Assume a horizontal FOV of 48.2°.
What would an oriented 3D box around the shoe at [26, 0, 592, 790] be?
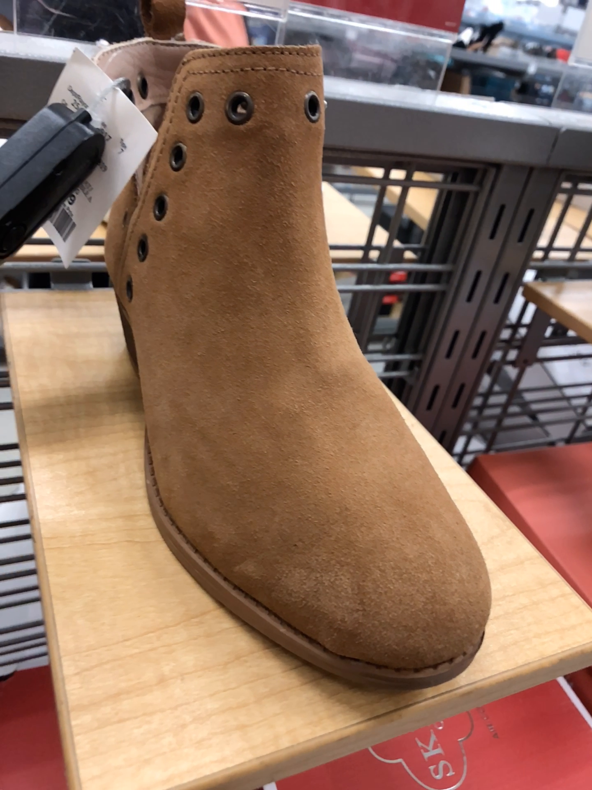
[{"bbox_3d":[-0.022,-0.047,0.237,0.092,0.129,0.282,-7,38,-29],"label":"shoe"}]
